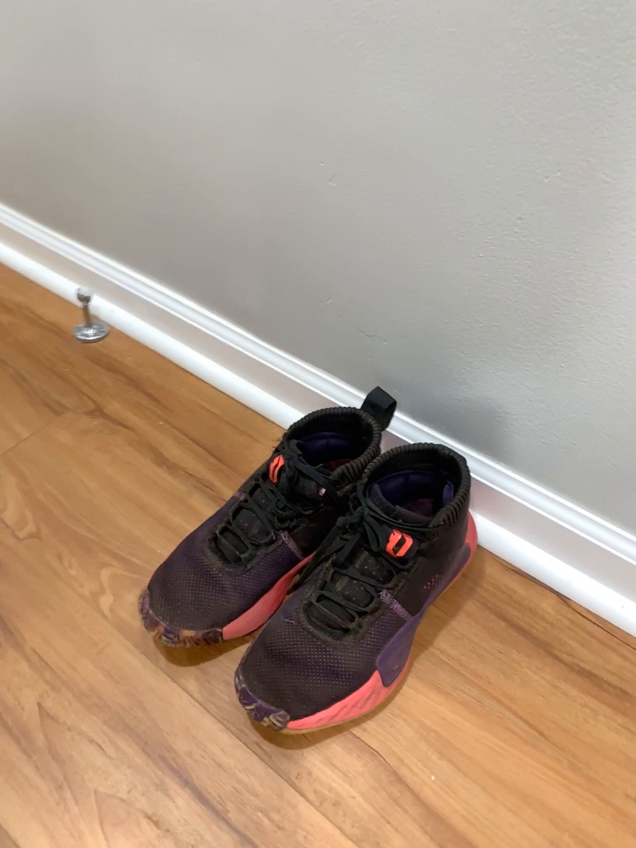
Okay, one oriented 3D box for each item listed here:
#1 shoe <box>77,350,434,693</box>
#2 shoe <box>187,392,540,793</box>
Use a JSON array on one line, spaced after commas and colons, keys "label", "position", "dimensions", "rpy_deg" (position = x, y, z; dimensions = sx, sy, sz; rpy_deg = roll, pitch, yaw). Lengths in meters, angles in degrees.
[{"label": "shoe", "position": [-0.041, 0.071, 0.583], "dimensions": [0.287, 0.131, 0.120], "rpy_deg": [-33, 53, -31]}, {"label": "shoe", "position": [0.047, 0.119, 0.536], "dimensions": [0.120, 0.131, 0.287], "rpy_deg": [31, 50, 27]}]
